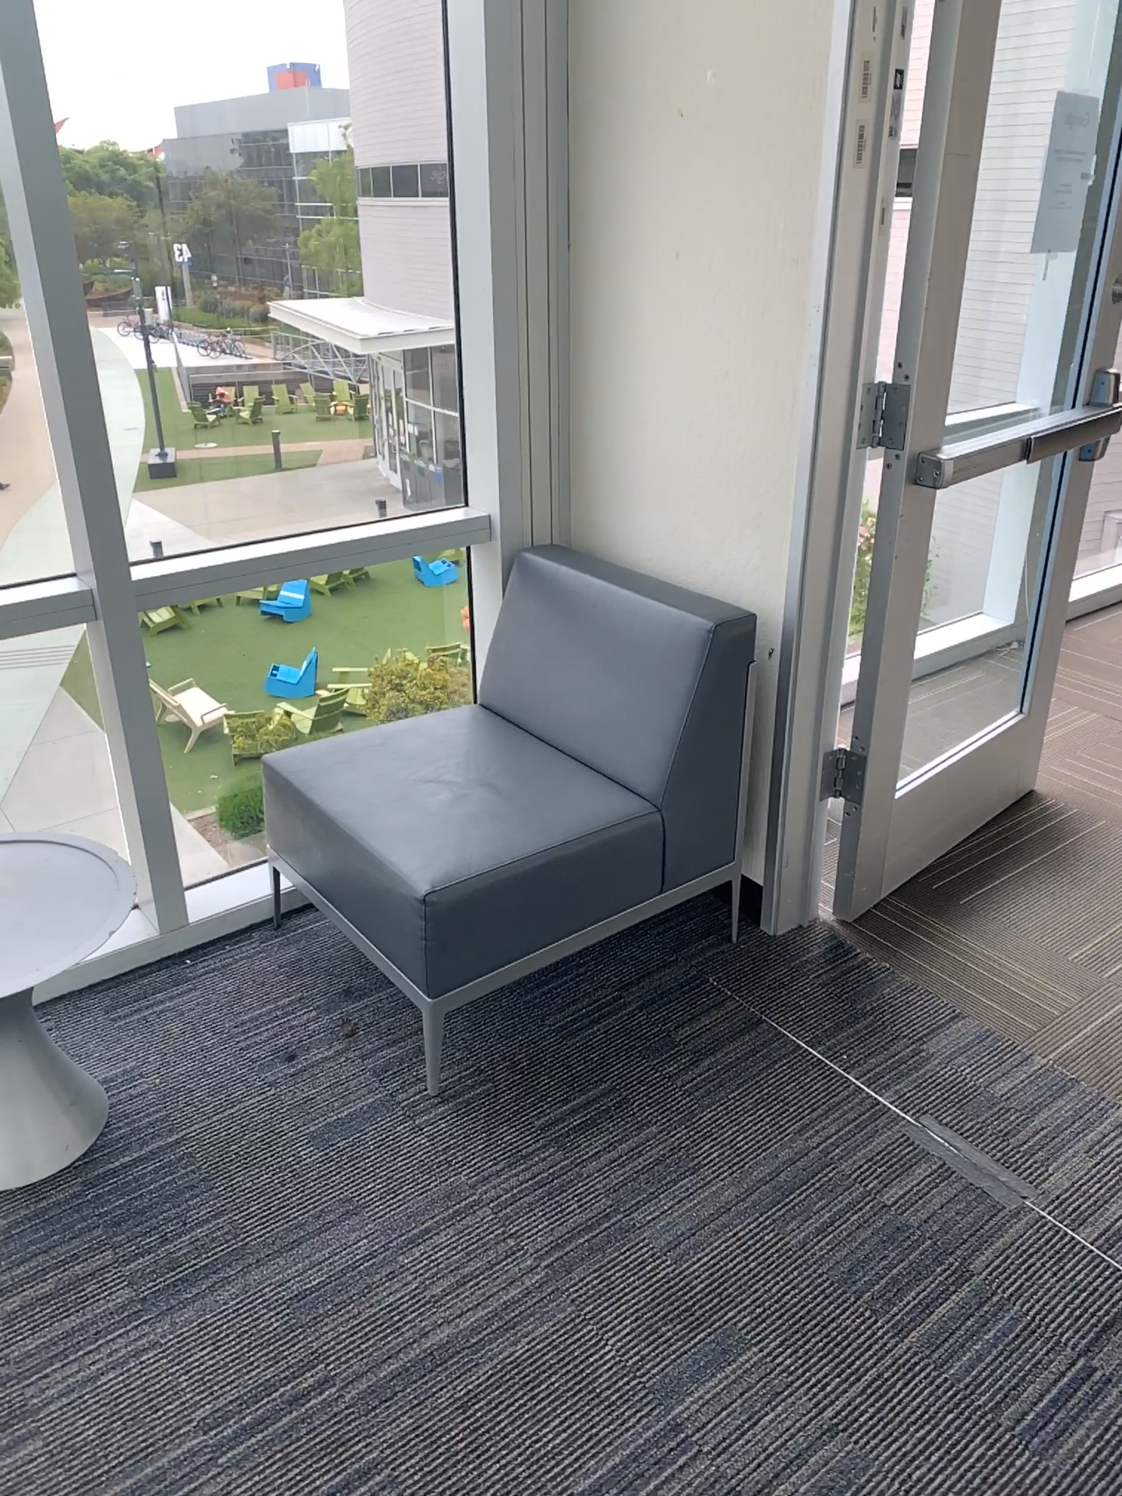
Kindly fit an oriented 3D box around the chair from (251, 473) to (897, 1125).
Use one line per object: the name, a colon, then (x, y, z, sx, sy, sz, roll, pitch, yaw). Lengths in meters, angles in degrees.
chair: (0.007, -0.006, 2.688, 1.001, 0.995, 1.005, -18, 29, -33)
